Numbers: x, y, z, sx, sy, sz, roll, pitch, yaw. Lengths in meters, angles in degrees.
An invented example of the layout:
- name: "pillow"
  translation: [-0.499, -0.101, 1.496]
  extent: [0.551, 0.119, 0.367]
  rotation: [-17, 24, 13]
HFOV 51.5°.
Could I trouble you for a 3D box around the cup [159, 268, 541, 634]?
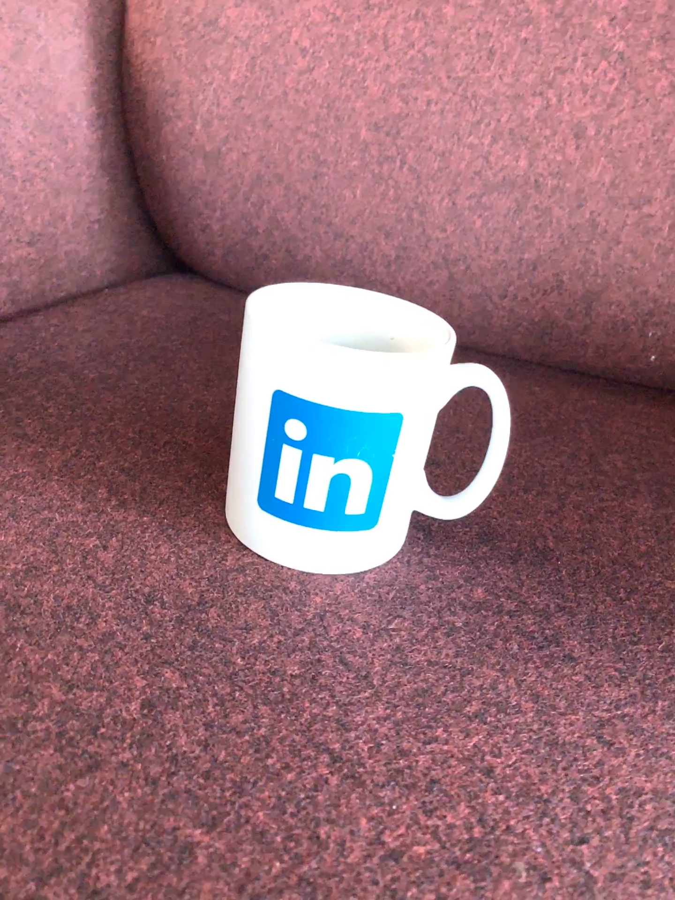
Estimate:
- name: "cup"
  translation: [0.007, -0.007, 0.273]
  extent: [0.120, 0.089, 0.091]
  rotation: [12, 28, 9]
